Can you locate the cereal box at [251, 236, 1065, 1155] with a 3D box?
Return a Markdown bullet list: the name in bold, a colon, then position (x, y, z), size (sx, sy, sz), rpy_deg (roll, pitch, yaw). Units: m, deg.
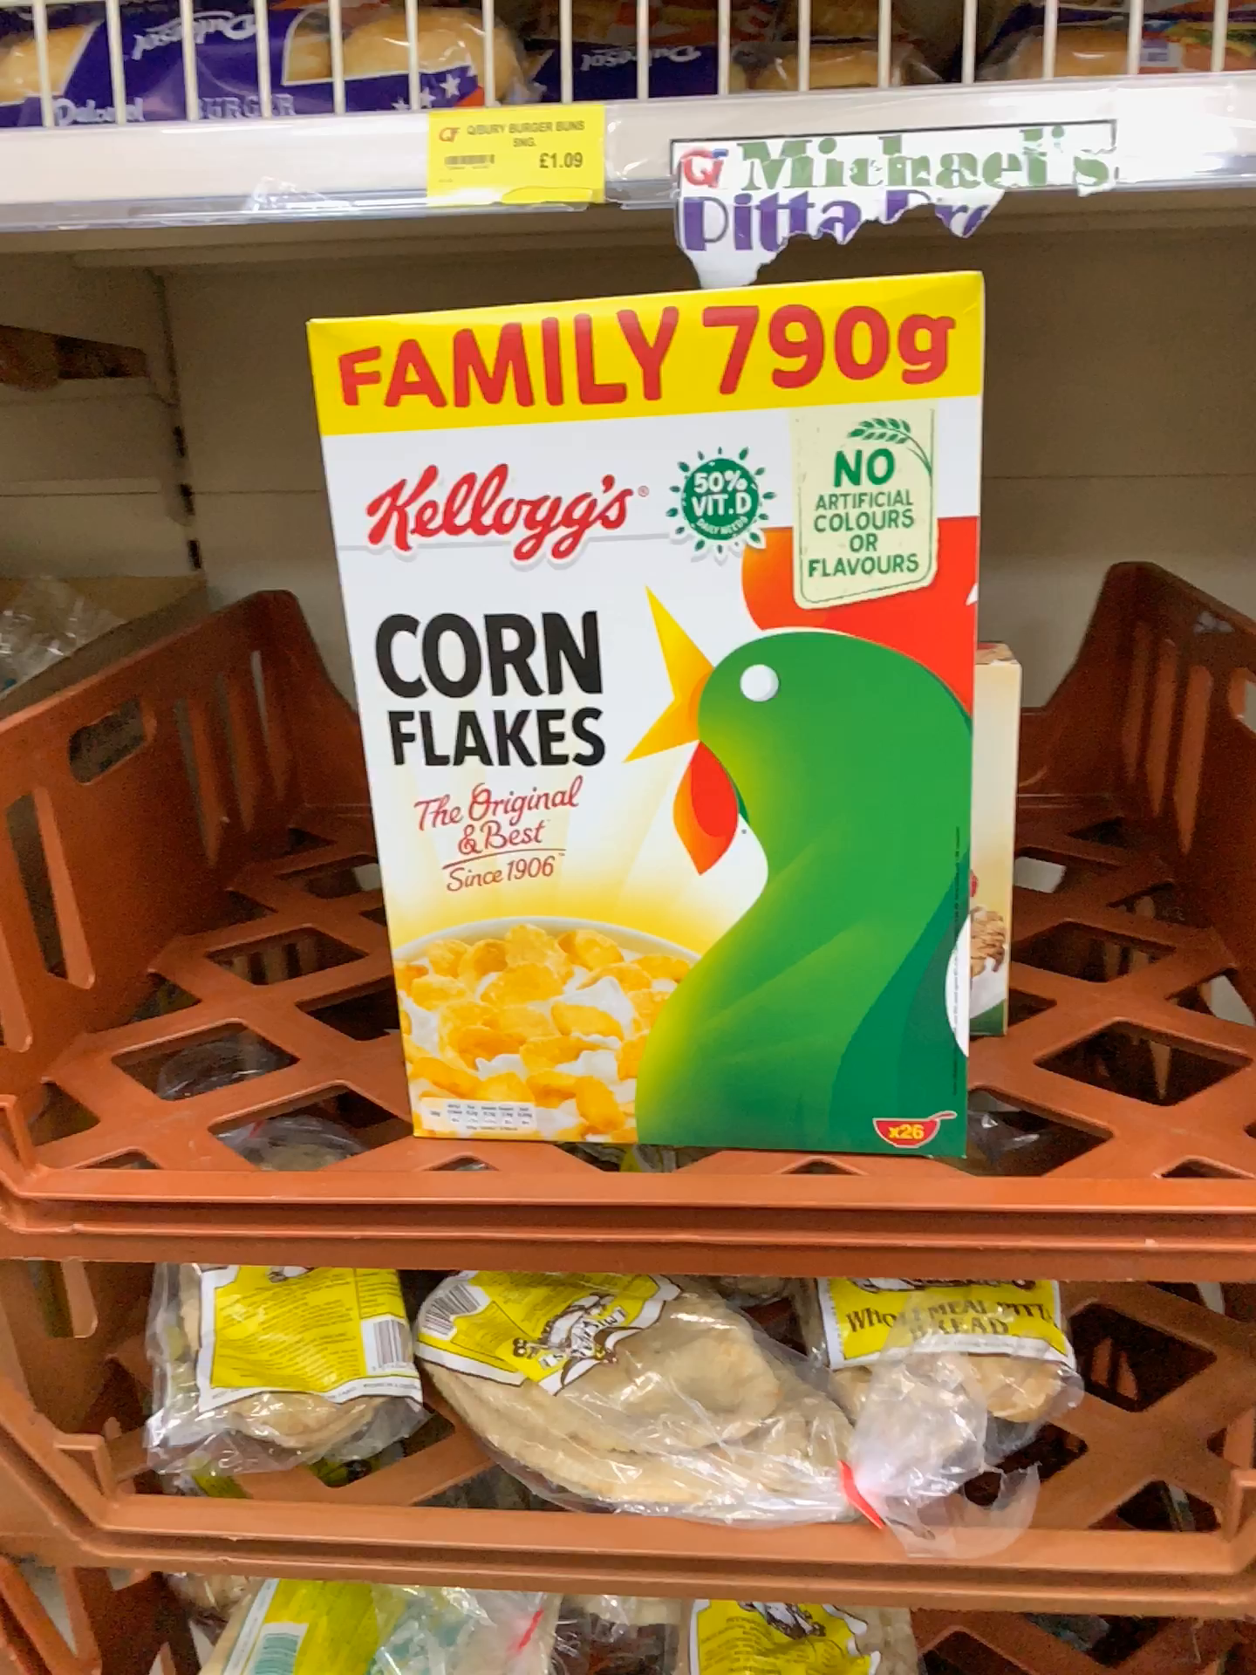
- **cereal box**: position (0.018, -0.047, 0.523), size (0.270, 0.337, 0.091), rpy_deg (0, 20, 8)
